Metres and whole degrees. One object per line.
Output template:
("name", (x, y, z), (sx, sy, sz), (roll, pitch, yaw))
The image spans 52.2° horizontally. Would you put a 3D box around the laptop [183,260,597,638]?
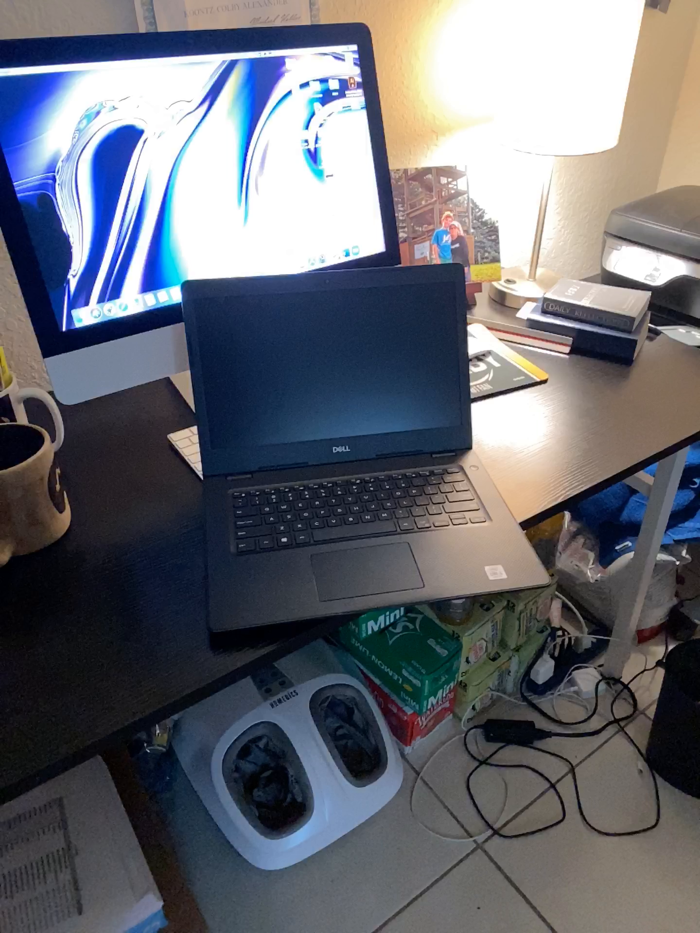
("laptop", (0.007, -0.046, 0.762), (0.336, 0.206, 0.345), (-7, 36, -8))
